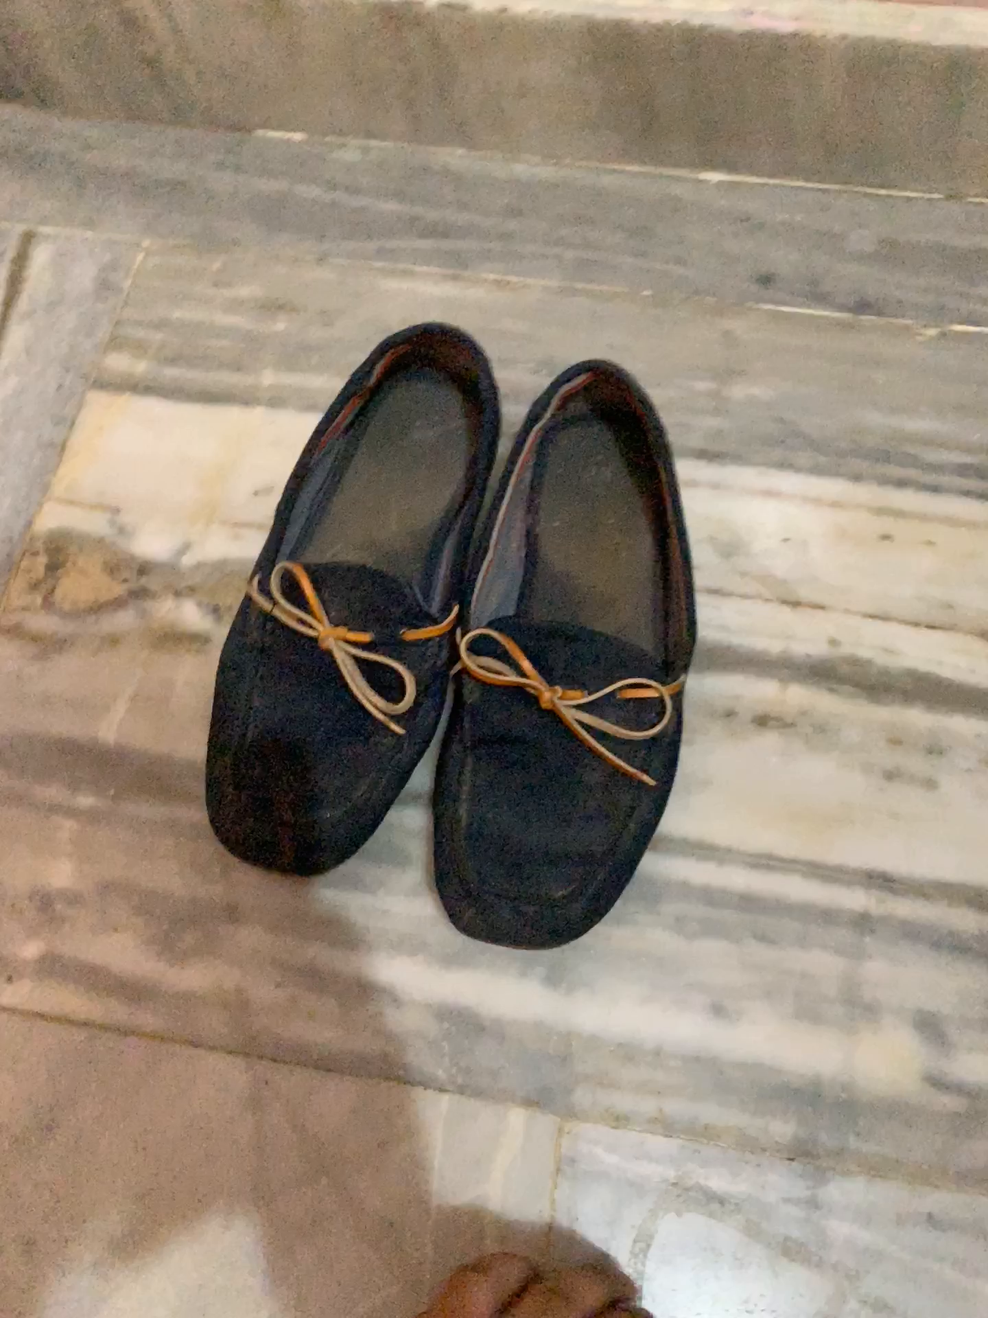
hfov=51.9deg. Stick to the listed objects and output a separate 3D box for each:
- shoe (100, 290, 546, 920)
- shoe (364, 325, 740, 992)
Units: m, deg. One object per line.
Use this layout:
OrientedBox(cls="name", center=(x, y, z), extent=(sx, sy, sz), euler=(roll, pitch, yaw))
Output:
OrientedBox(cls="shoe", center=(-0.066, -0.034, 0.485), extent=(0.120, 0.070, 0.280), euler=(12, 68, 7))
OrientedBox(cls="shoe", center=(0.036, -0.010, 0.485), extent=(0.120, 0.070, 0.300), euler=(9, 68, 6))
